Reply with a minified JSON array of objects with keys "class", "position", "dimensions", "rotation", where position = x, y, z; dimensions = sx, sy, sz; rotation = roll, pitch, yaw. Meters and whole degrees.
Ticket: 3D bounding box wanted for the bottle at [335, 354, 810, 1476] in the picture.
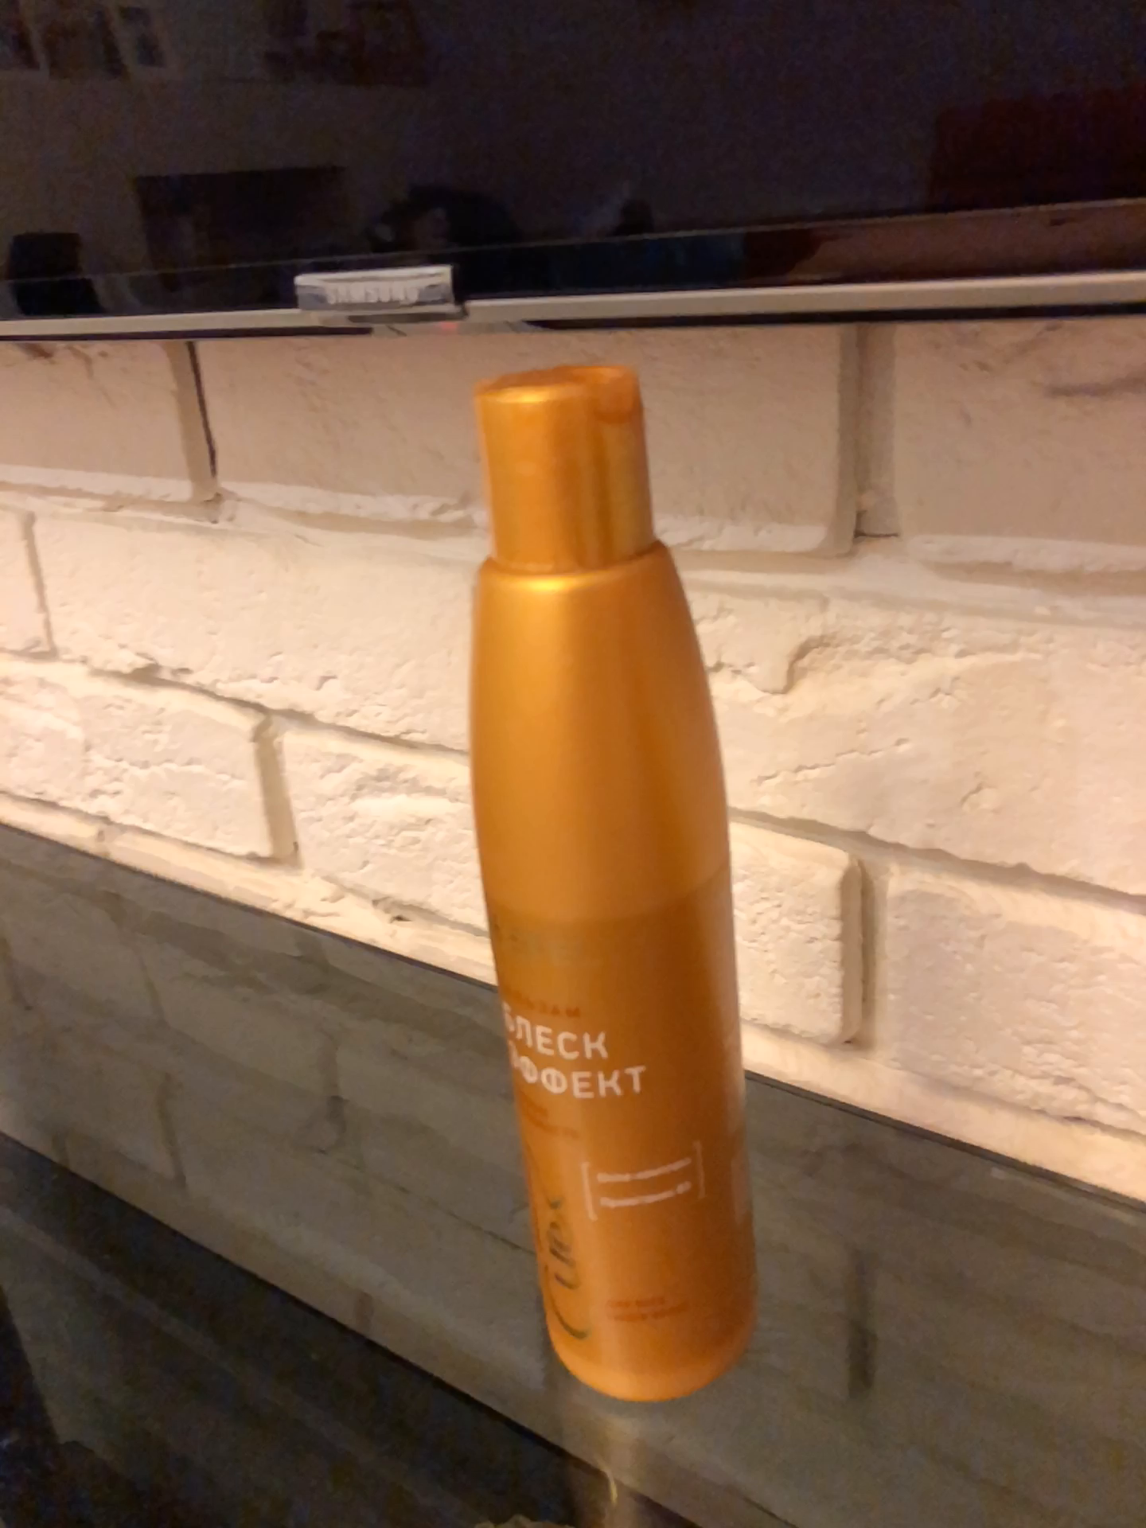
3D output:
[{"class":"bottle","position":[0.009,0.031,0.239],"dimensions":[0.050,0.199,0.060],"rotation":[8,27,29]}]
